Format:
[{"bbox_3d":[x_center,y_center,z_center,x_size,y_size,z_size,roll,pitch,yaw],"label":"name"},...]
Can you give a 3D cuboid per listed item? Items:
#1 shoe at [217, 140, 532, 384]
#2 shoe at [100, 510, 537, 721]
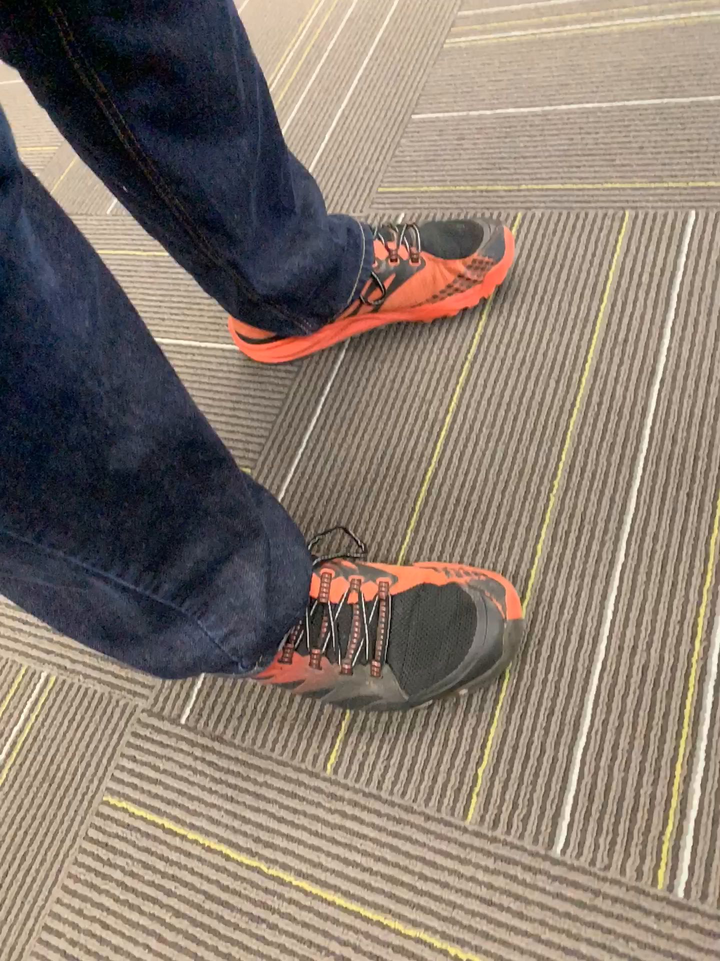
[{"bbox_3d":[0.010,-0.223,0.770,0.300,0.100,0.130,-15,56,11],"label":"shoe"},{"bbox_3d":[-0.026,0.111,0.600,0.321,0.119,0.120,-3,59,19],"label":"shoe"}]
